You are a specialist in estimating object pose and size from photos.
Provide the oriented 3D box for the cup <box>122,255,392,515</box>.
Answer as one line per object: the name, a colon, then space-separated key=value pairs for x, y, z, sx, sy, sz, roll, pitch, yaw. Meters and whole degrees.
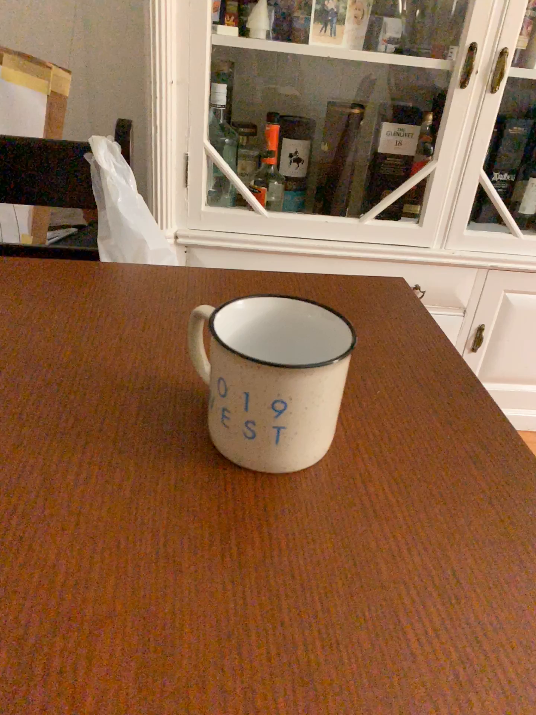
cup: x=-0.013 y=0.008 z=0.387 sx=0.151 sy=0.099 sz=0.100 roll=27 pitch=37 yaw=31
